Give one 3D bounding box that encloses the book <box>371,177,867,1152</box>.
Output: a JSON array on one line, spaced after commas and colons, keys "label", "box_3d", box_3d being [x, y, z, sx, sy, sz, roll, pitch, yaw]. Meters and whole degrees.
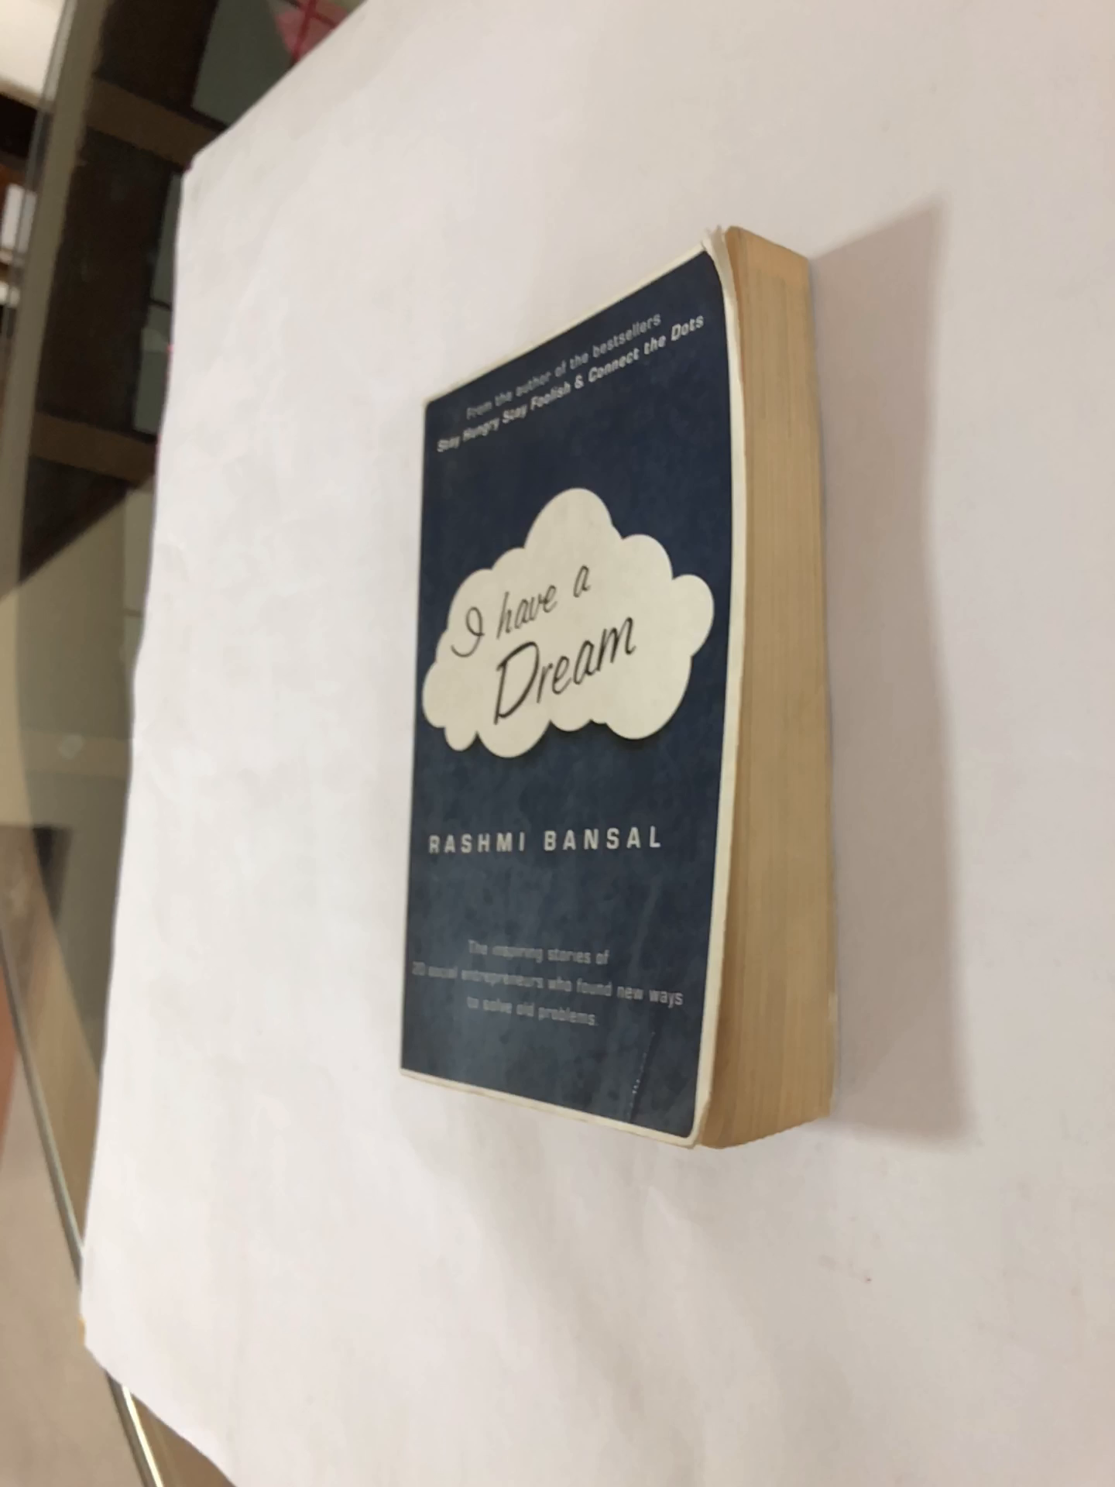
[{"label": "book", "box_3d": [0.009, -0.013, 0.314, 0.141, 0.030, 0.200, -9, 77, 49]}]
